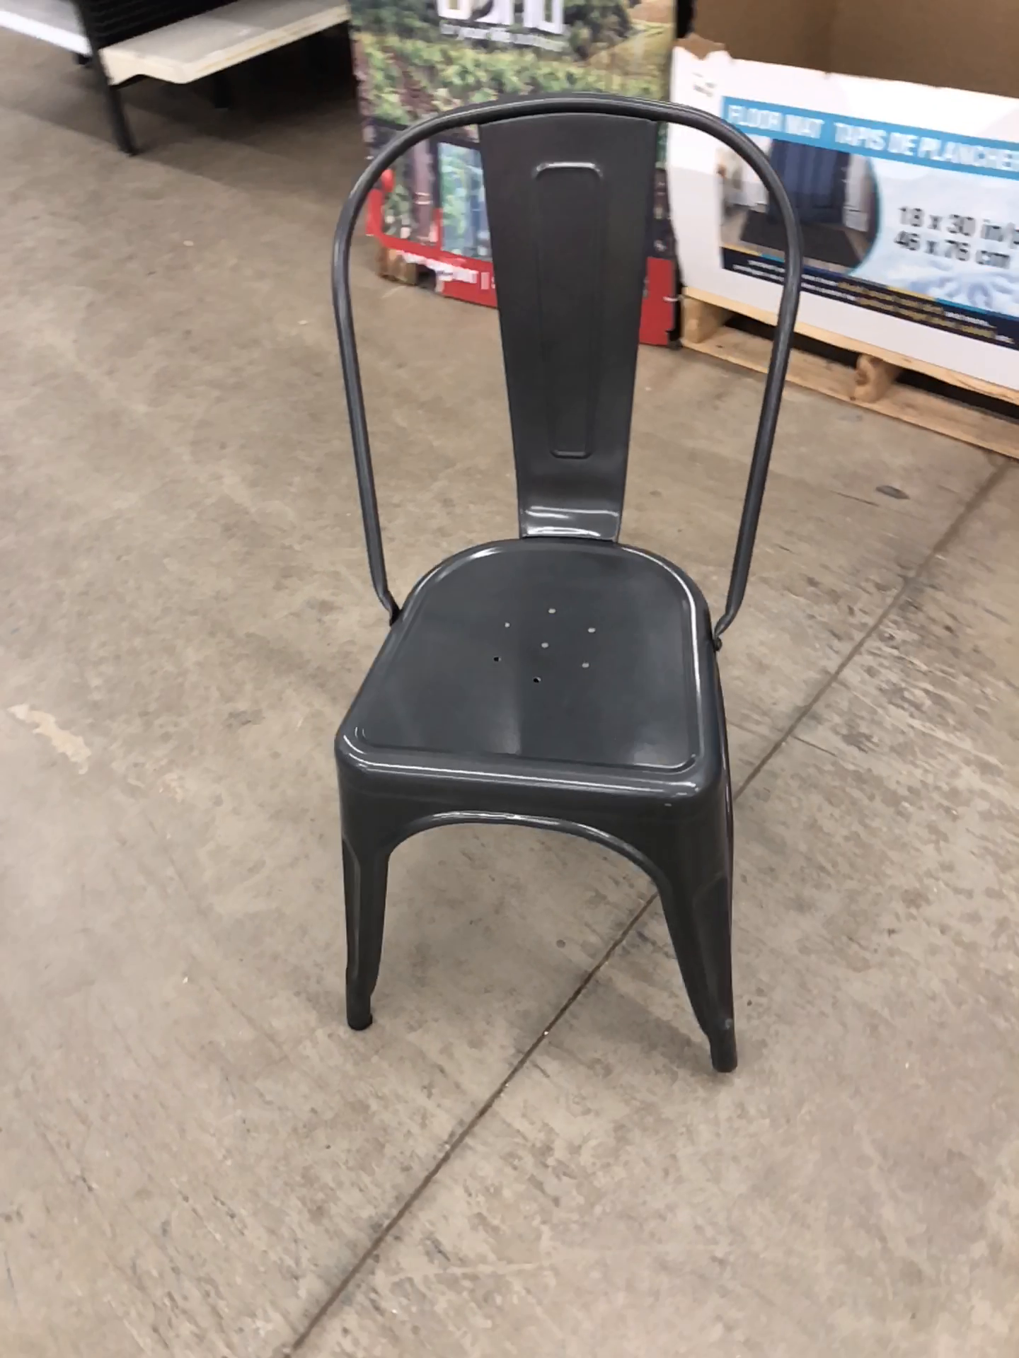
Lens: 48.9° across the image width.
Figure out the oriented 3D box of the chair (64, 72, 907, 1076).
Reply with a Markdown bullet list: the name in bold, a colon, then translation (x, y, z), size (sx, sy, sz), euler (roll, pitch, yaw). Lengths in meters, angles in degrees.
- **chair**: translation (0.035, -0.057, 1.094), size (0.480, 0.817, 0.502), euler (3, 47, 8)
